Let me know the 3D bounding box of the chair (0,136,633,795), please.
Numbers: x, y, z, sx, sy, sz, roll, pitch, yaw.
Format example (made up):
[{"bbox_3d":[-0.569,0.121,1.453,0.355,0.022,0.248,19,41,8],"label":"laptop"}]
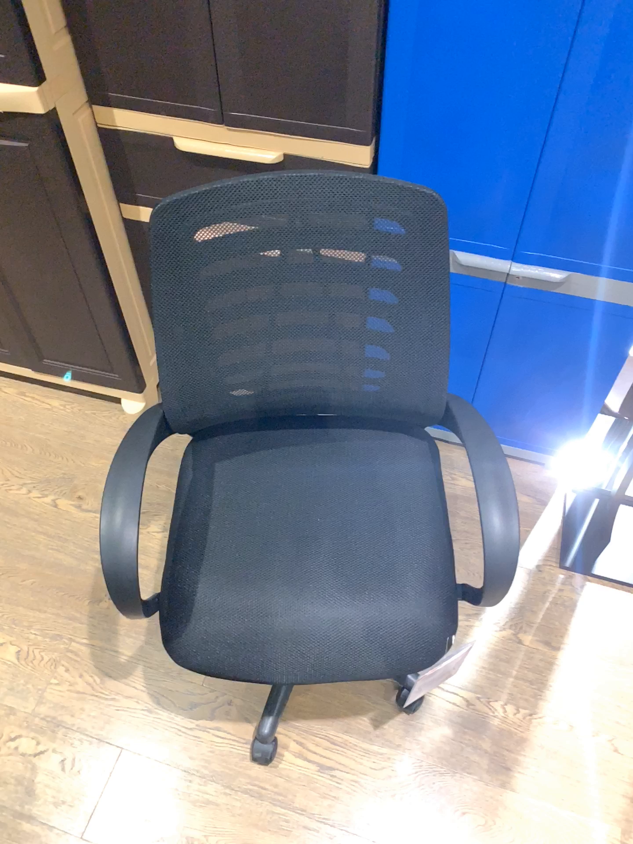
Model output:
[{"bbox_3d":[-0.046,0.175,1.042,0.600,0.997,0.602,0,51,1],"label":"chair"}]
